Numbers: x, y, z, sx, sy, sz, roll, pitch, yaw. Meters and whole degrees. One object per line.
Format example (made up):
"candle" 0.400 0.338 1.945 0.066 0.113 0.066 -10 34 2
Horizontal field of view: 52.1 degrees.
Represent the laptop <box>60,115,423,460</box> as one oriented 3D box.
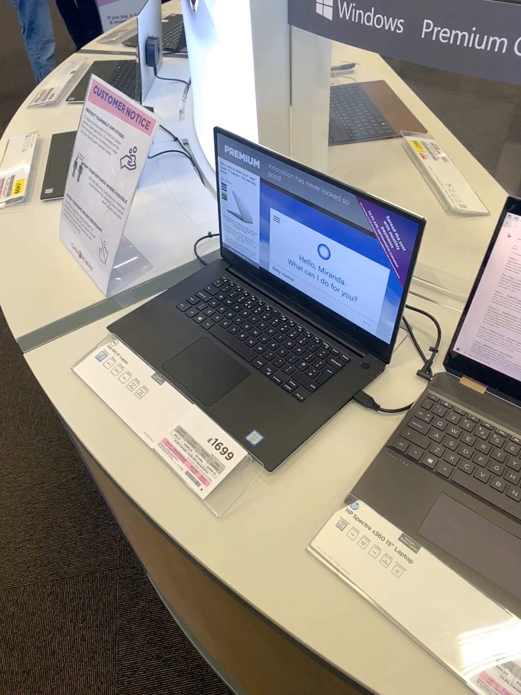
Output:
"laptop" -0.027 -0.101 0.698 0.254 0.224 0.352 -37 55 -27
